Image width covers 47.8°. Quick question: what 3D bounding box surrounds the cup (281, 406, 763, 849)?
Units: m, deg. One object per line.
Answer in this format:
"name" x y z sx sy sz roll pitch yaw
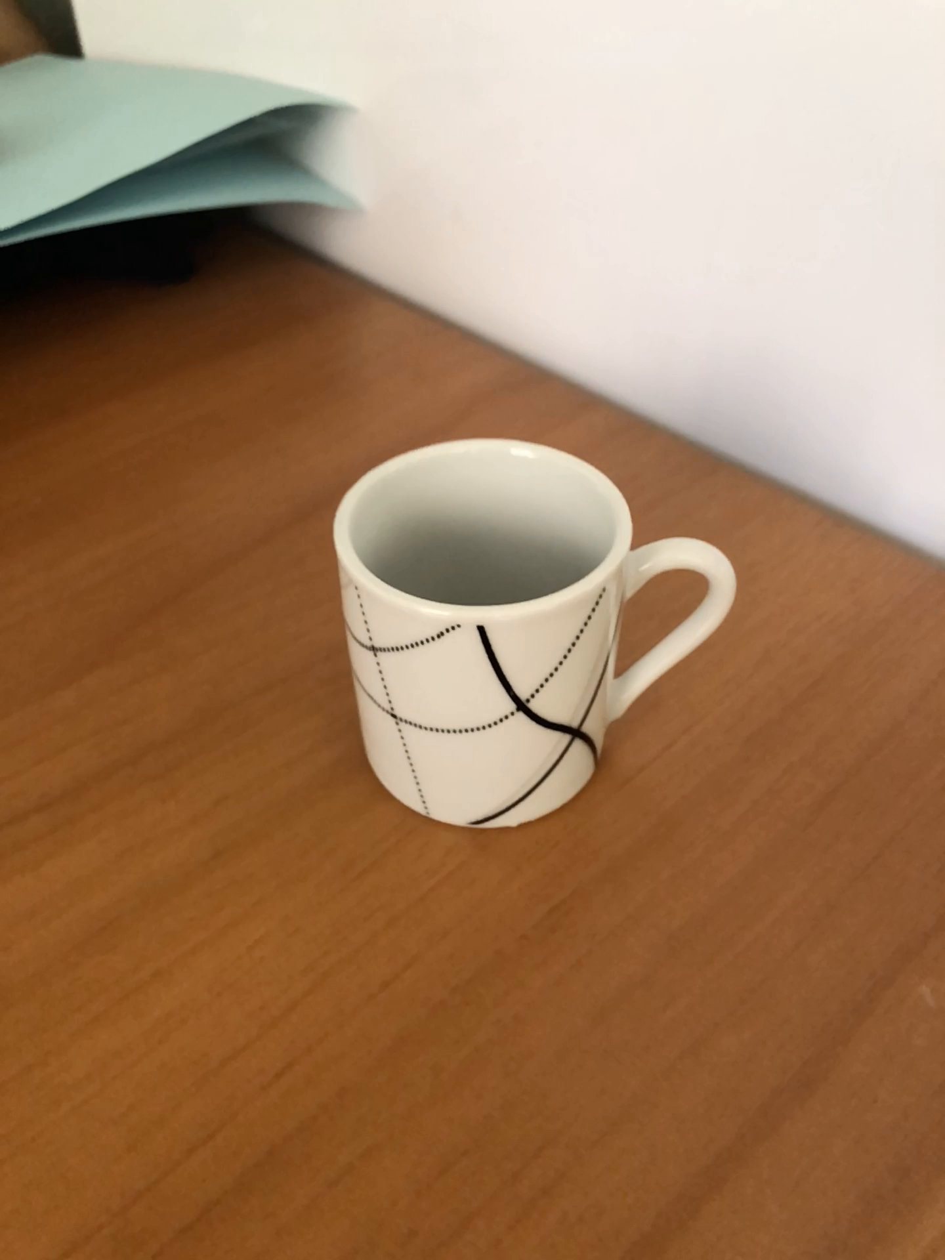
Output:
"cup" 0.006 -0.002 0.193 0.070 0.050 0.060 -2 41 -3
